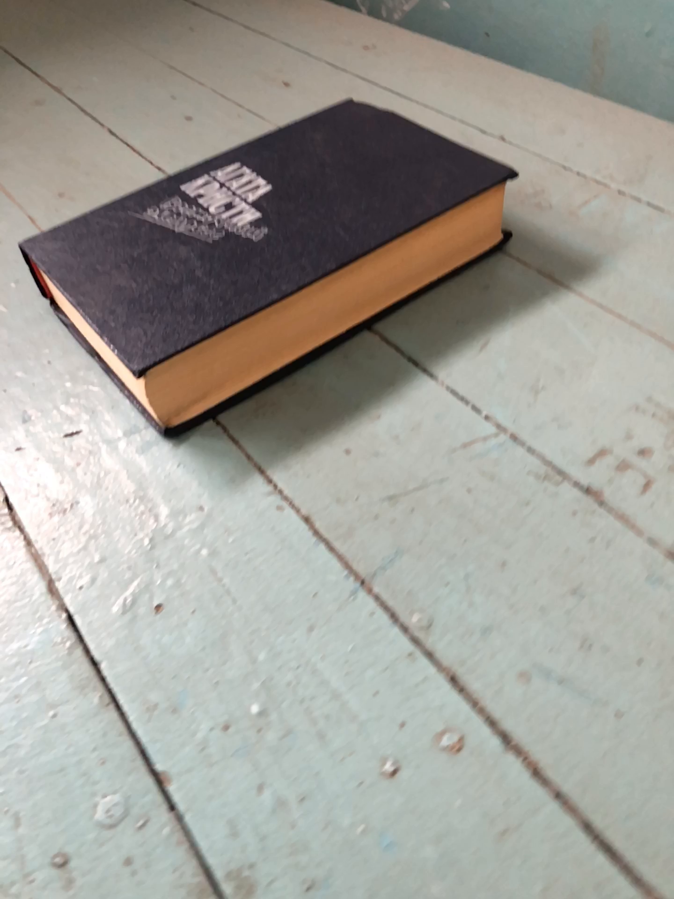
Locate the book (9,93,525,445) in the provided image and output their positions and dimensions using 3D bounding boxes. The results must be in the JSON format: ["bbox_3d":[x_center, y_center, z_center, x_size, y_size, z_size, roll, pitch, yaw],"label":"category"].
[{"bbox_3d":[-0.033,-0.105,0.375,0.210,0.040,0.138,-32,51,-20],"label":"book"}]
